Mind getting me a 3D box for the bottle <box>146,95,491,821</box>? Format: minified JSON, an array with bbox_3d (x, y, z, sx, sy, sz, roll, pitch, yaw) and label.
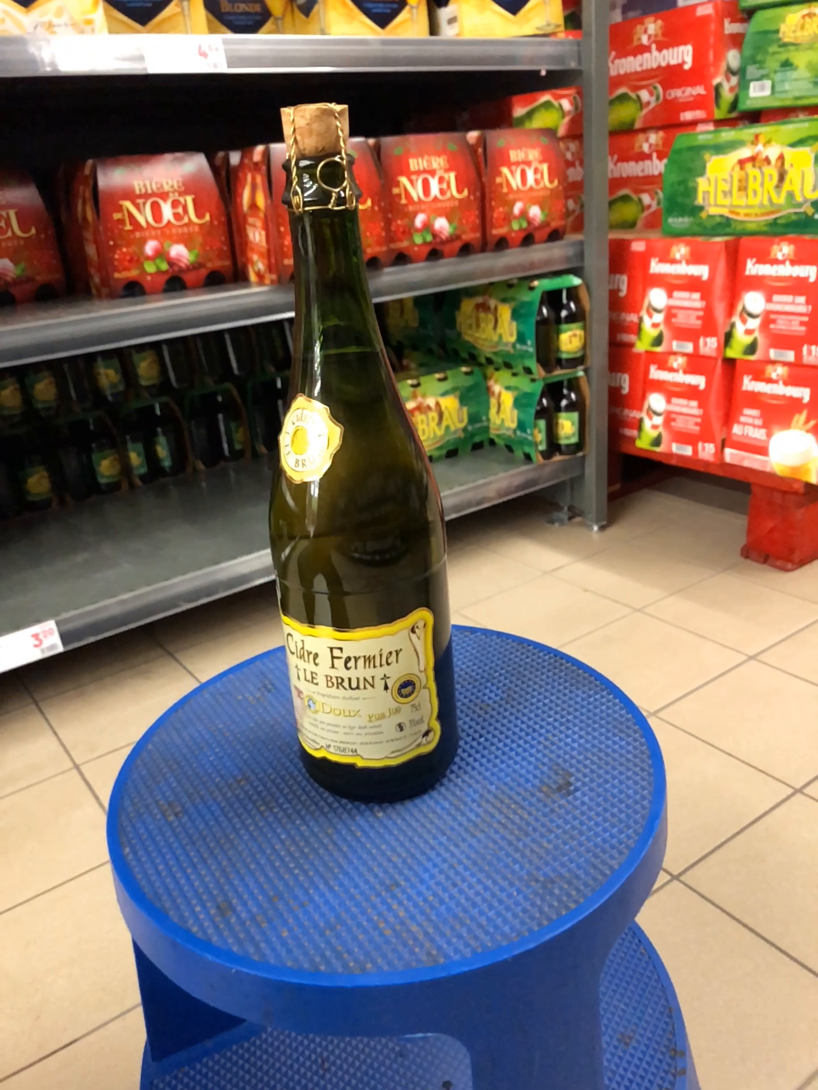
[{"bbox_3d":[-0.027,-0.033,0.412,0.090,0.299,0.091,-5,22,2],"label":"bottle"}]
